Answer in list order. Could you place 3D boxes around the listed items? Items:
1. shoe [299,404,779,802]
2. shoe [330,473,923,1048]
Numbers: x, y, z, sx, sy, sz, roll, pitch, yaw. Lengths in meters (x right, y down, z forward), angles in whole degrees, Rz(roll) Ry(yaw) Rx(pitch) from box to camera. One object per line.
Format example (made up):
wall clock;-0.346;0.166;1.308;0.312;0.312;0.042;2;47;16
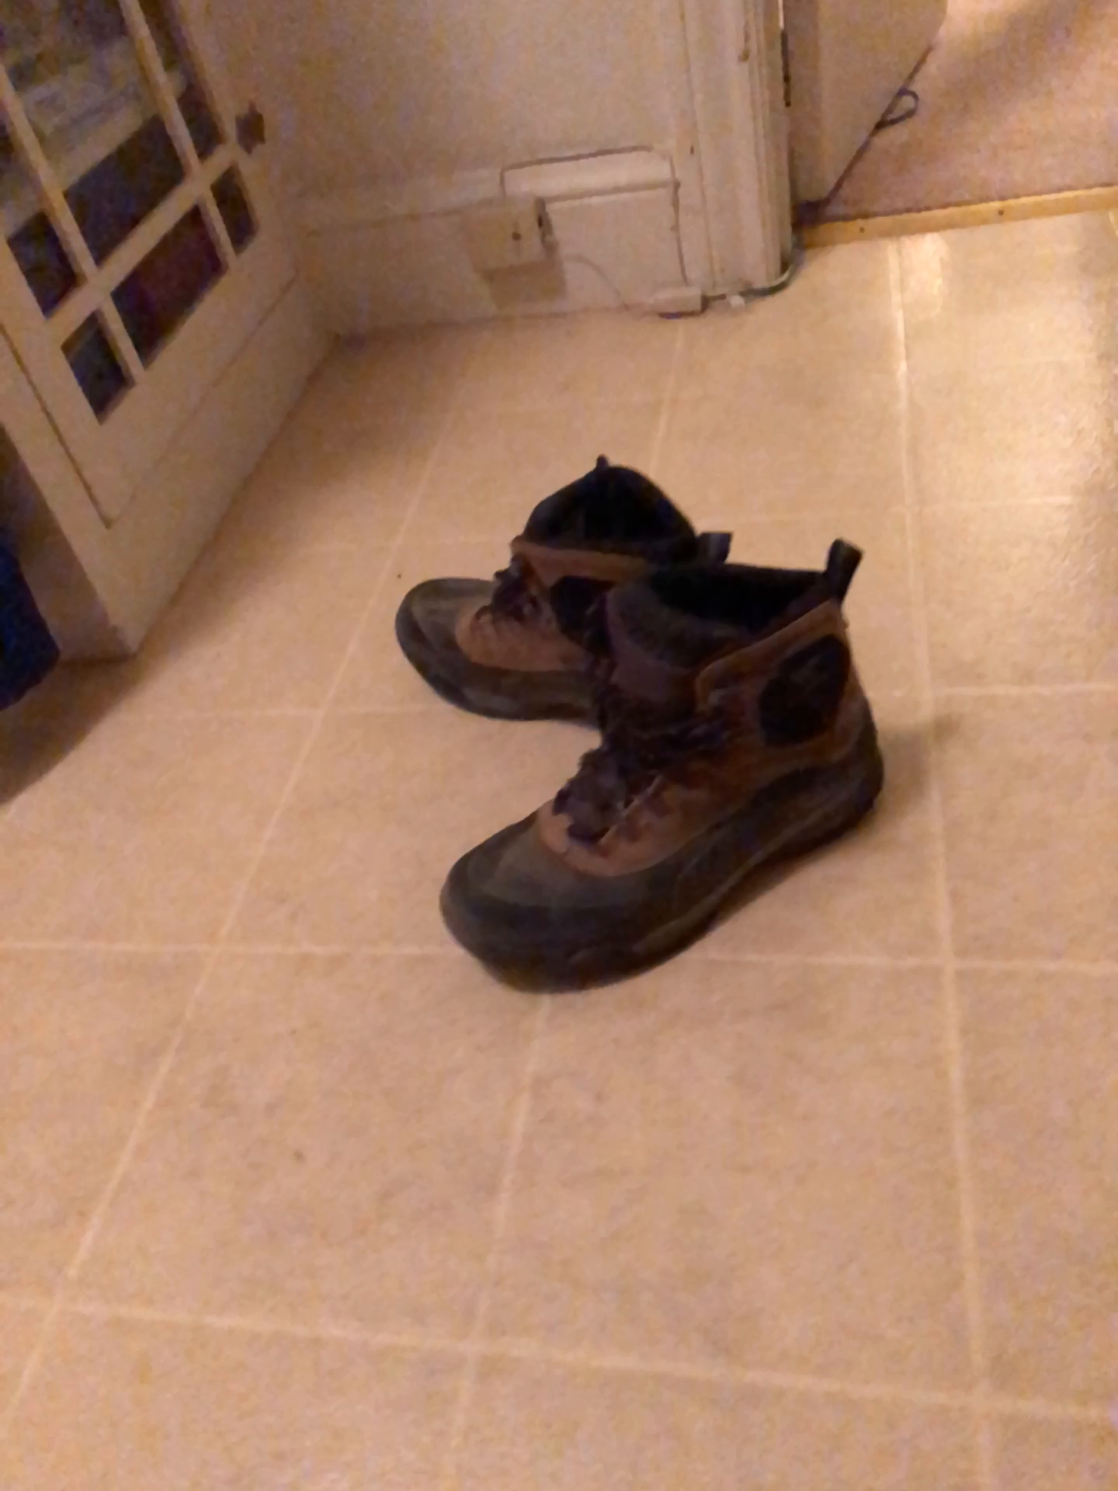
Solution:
shoe;-0.012;-0.107;0.852;0.293;0.185;0.113;20;52;33
shoe;0.052;0.004;0.712;0.299;0.185;0.122;-28;43;-14
